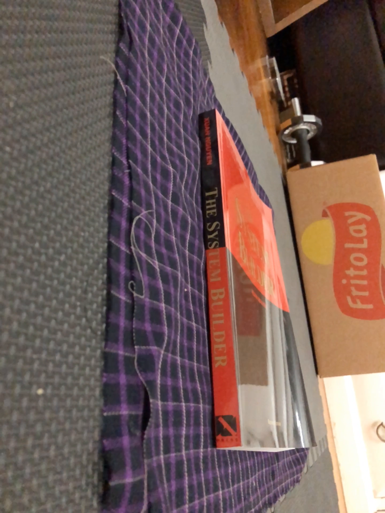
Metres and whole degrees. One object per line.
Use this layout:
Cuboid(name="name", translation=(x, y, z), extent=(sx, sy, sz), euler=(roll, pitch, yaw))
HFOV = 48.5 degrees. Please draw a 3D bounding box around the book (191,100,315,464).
Cuboid(name="book", translation=(0.056, 0.034, 0.374), extent=(0.201, 0.030, 0.260), euler=(45, 37, -57))
